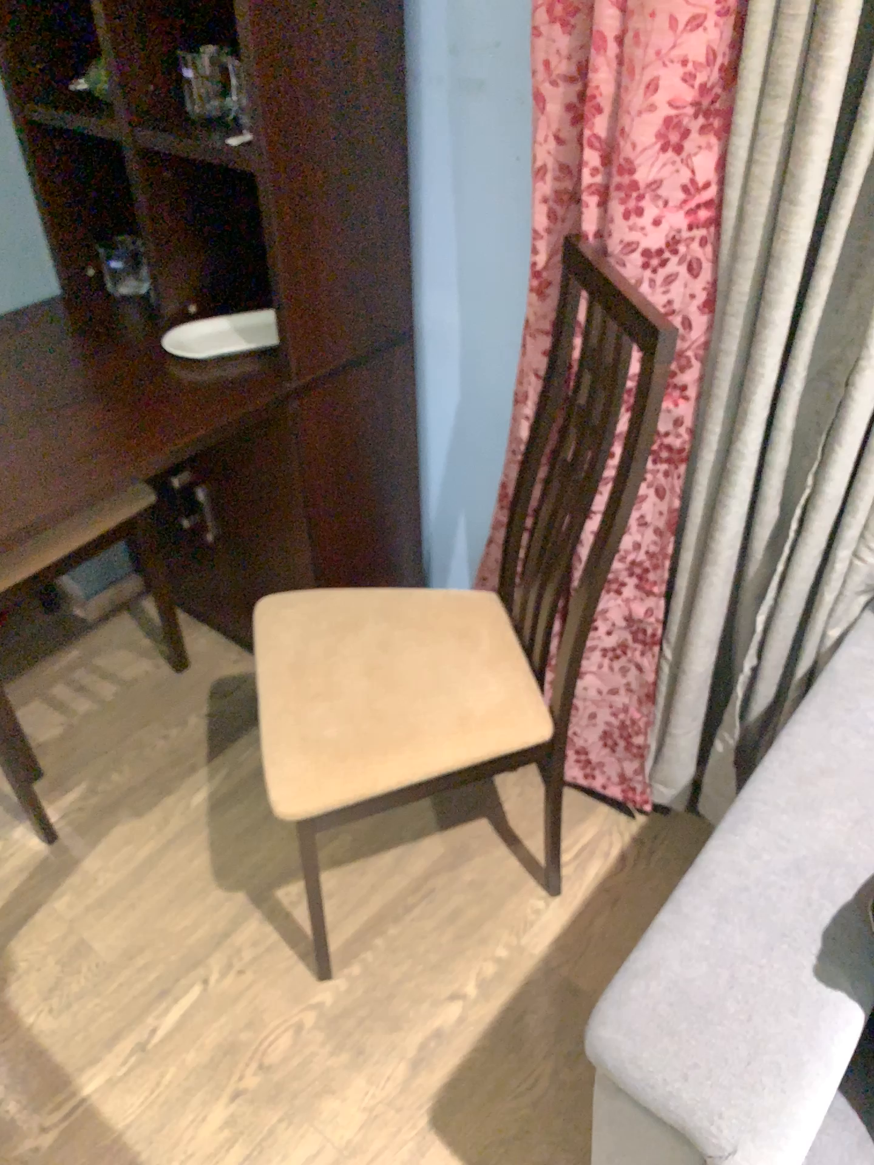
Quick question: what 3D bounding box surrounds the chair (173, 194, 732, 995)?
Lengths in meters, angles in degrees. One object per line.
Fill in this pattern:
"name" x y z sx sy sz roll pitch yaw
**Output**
"chair" -0.023 0.042 1.311 0.510 0.976 0.532 -9 39 -10
